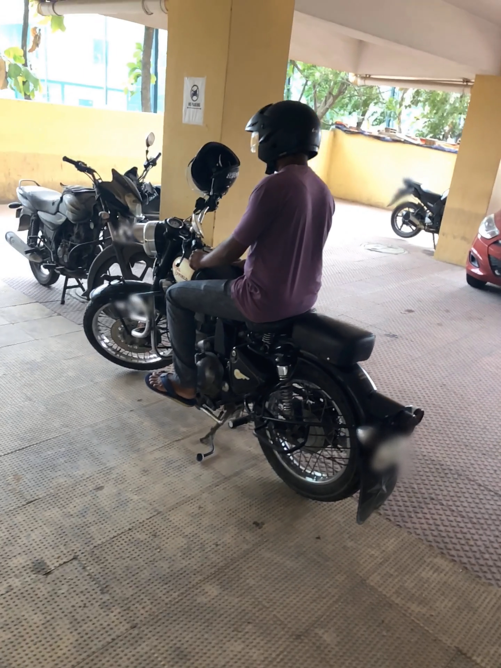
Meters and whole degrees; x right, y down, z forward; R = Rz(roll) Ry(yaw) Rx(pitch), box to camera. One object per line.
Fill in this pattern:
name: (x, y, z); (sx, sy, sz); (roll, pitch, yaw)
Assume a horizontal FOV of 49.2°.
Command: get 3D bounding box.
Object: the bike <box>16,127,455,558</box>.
bike: (-0.197, -0.130, 2.502); (1.765, 1.097, 0.728); (27, 29, 31)
